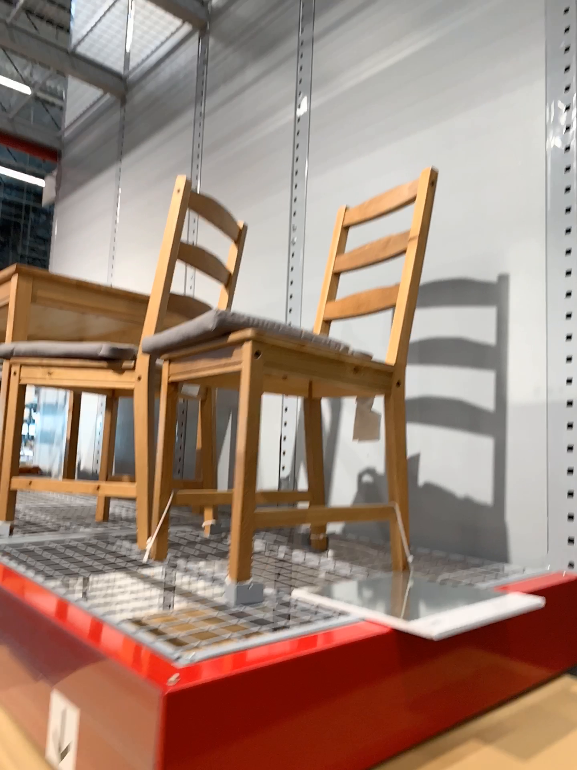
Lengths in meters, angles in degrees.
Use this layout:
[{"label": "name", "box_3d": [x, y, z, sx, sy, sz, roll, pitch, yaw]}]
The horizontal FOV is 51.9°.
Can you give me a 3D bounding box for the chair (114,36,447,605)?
[{"label": "chair", "box_3d": [-0.010, -0.091, 1.256, 0.499, 0.911, 0.440, 7, -8, -37]}]
